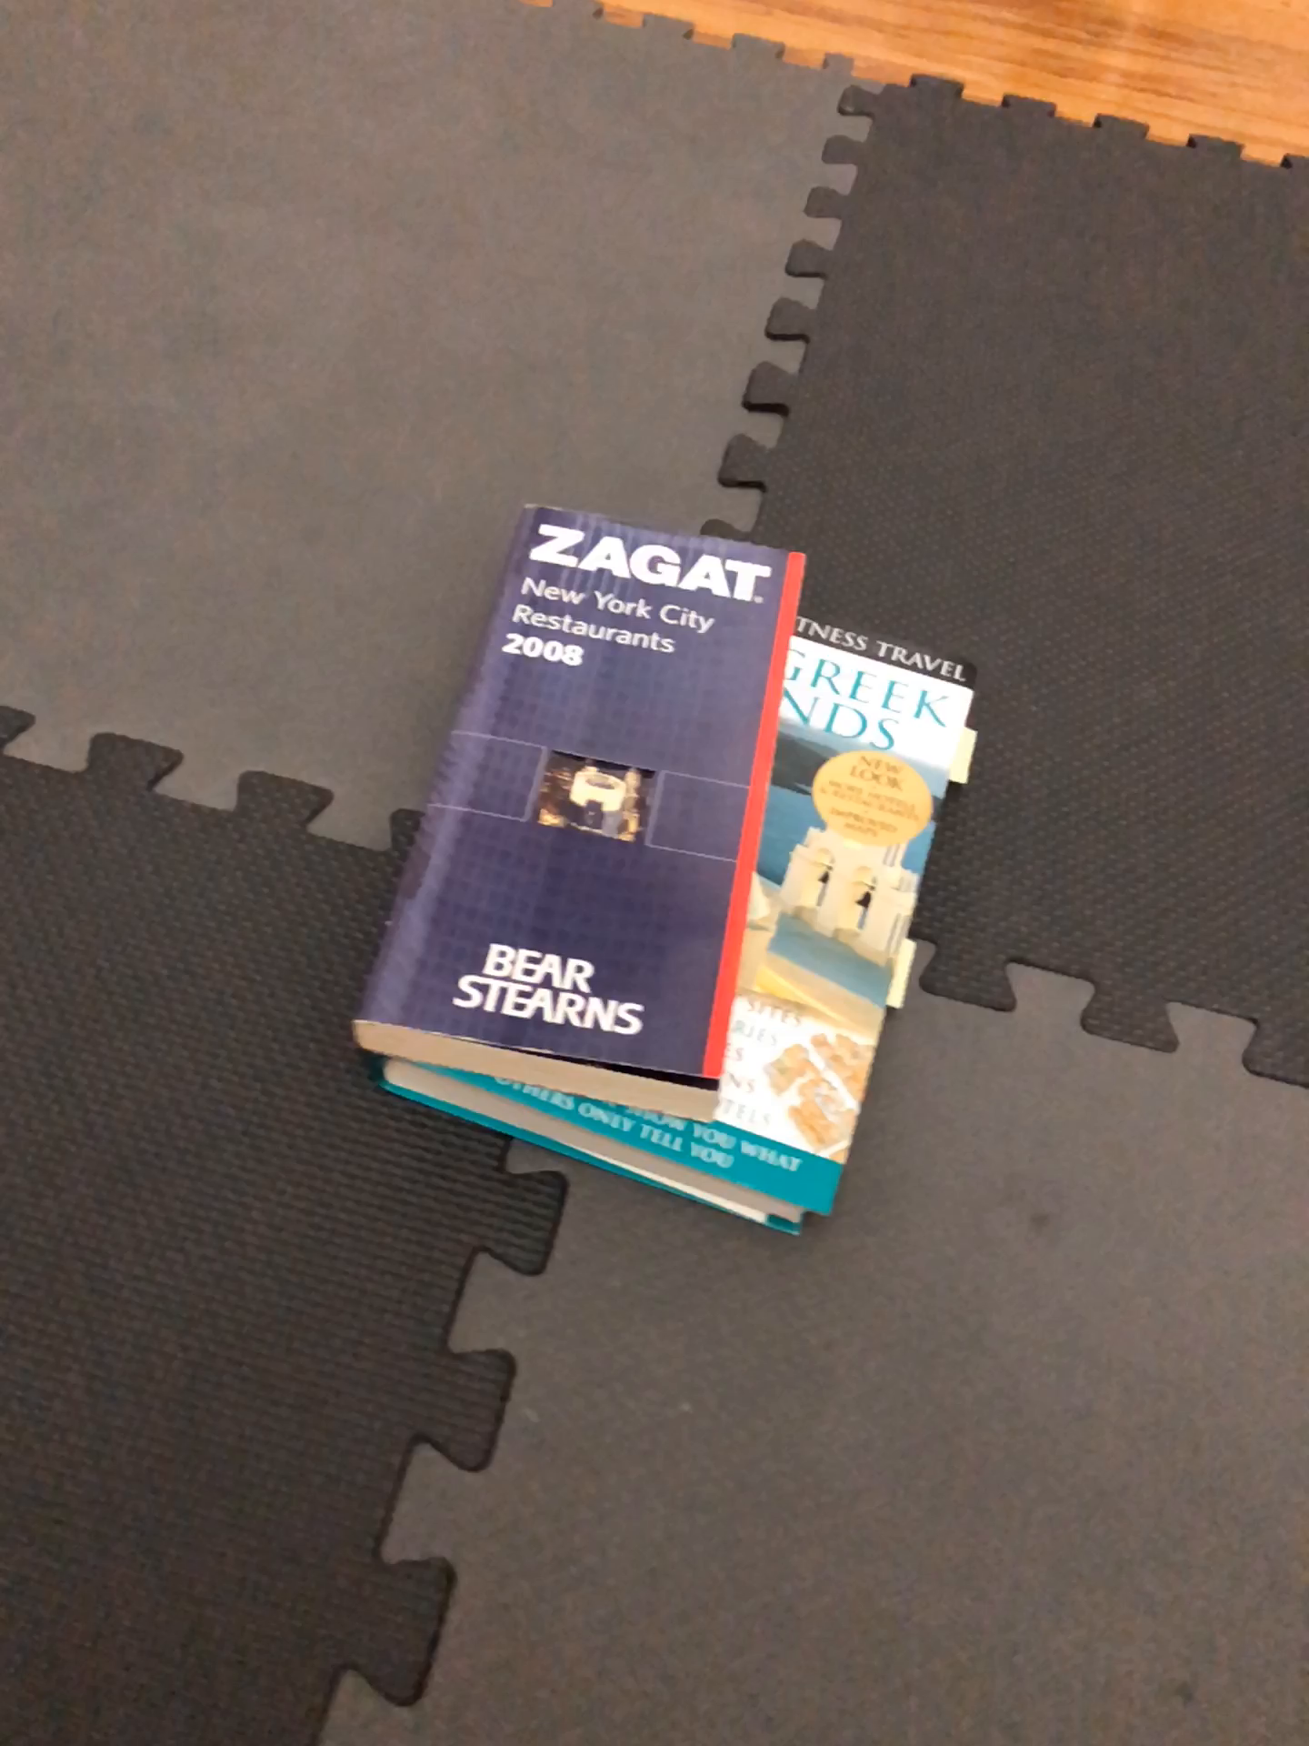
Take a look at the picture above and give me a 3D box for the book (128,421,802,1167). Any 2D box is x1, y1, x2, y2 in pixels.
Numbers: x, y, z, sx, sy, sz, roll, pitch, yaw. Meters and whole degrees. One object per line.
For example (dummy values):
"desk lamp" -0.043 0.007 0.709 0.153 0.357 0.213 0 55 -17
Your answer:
"book" -0.042 -0.042 0.448 0.150 0.020 0.251 10 54 1

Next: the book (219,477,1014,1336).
"book" 0.005 -0.011 0.453 0.170 0.030 0.261 17 55 6
